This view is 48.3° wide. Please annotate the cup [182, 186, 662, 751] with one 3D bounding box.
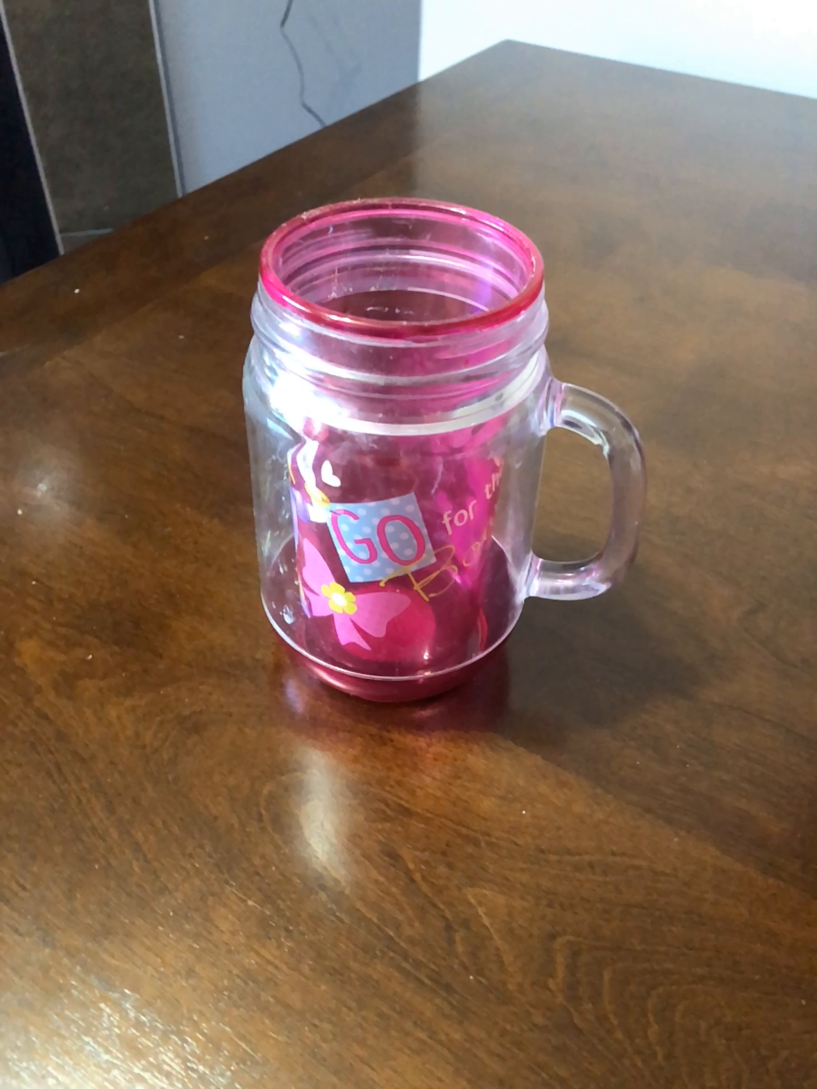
[{"bbox_3d":[0.007,-0.020,0.307,0.120,0.159,0.080,8,43,7],"label":"cup"}]
